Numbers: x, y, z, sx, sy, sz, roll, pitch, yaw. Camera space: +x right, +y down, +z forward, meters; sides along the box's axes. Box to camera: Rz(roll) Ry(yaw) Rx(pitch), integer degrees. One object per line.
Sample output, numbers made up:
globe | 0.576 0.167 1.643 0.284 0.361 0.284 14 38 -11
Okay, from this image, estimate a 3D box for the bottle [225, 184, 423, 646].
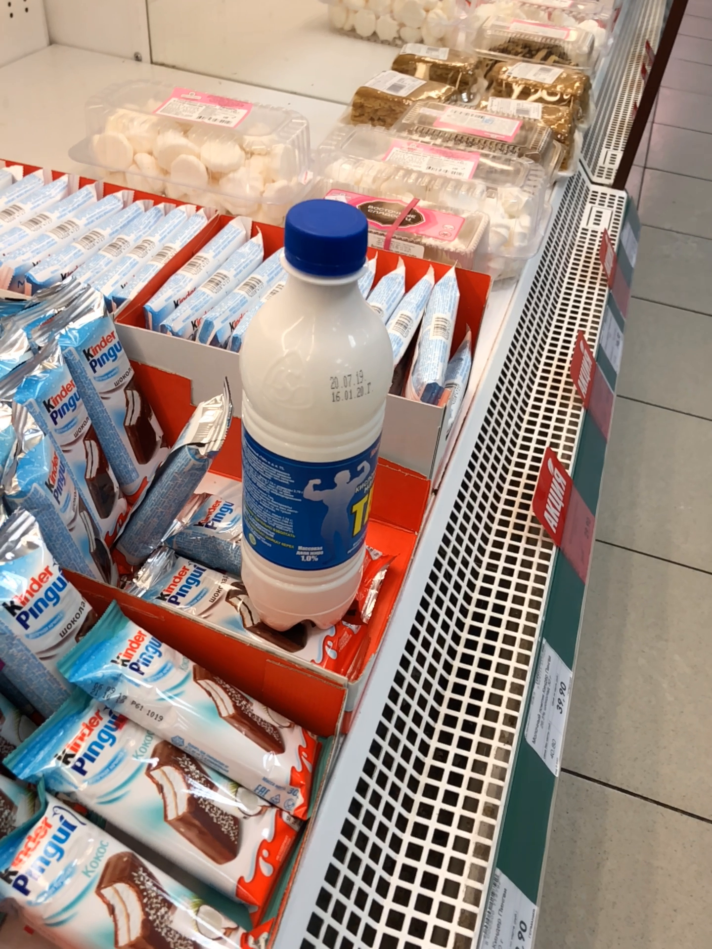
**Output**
bottle | -0.018 -0.013 0.349 0.059 0.202 0.064 4 44 -4
